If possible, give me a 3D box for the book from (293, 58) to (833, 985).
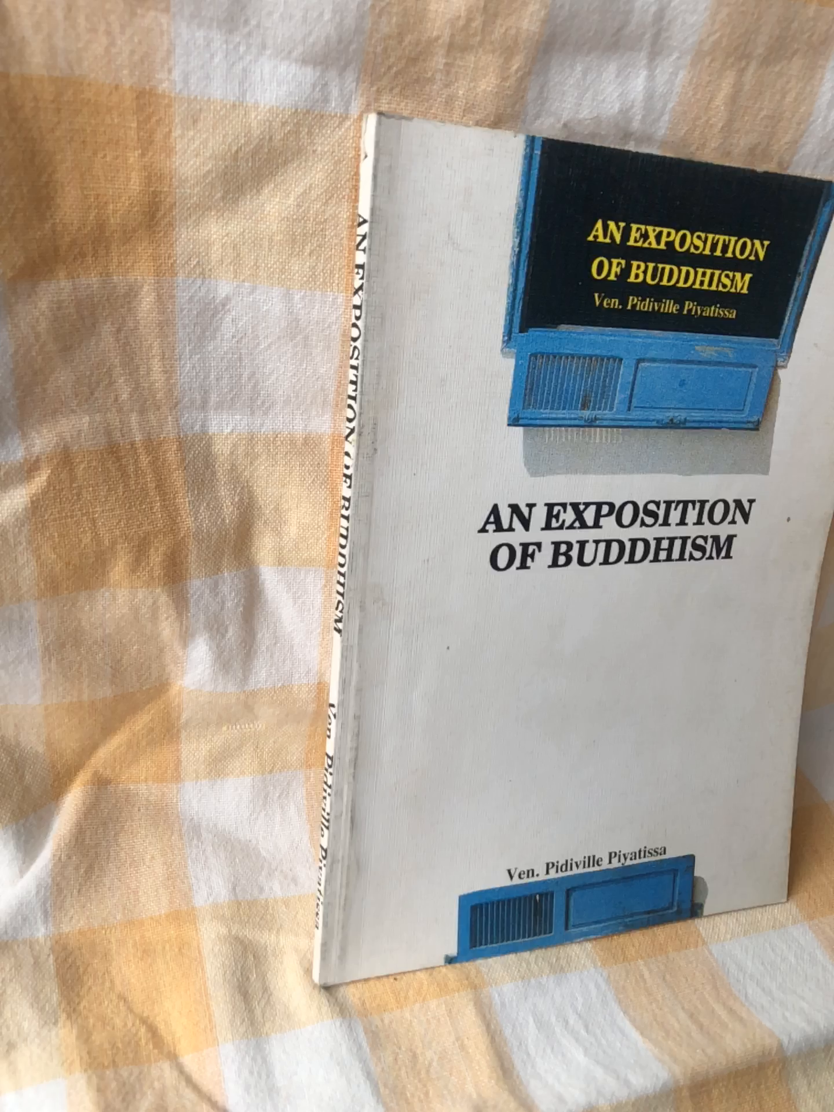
[{"bbox_3d":[0.045,0.002,0.224,0.140,0.199,0.020,-2,18,-19],"label":"book"}]
